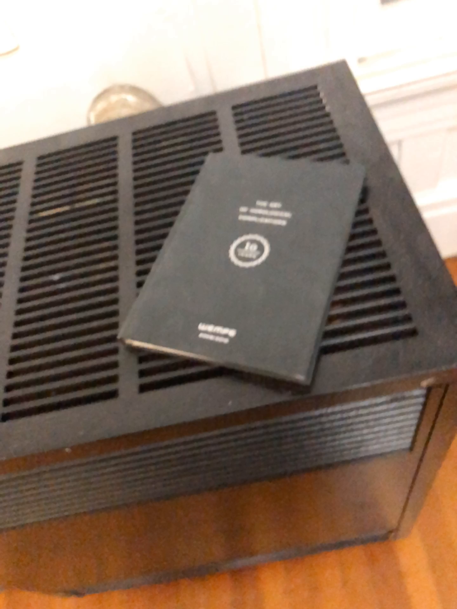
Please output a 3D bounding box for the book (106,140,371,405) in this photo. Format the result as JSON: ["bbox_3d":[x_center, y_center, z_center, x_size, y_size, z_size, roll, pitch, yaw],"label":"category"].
[{"bbox_3d":[0.019,-0.049,0.445,0.160,0.020,0.251,10,59,20],"label":"book"}]
